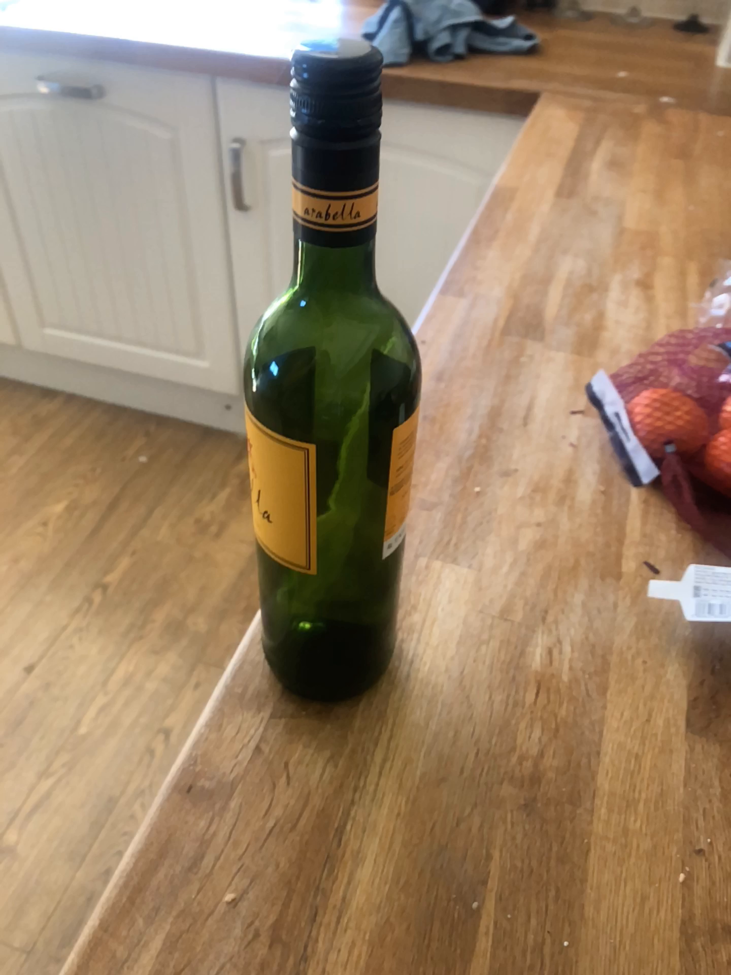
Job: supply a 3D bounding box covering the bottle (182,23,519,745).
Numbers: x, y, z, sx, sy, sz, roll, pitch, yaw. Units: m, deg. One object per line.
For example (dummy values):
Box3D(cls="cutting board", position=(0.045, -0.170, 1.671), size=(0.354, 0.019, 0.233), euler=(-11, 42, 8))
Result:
Box3D(cls="bottle", position=(-0.004, -0.017, 0.347), size=(0.090, 0.297, 0.091), euler=(1, 41, -1))
